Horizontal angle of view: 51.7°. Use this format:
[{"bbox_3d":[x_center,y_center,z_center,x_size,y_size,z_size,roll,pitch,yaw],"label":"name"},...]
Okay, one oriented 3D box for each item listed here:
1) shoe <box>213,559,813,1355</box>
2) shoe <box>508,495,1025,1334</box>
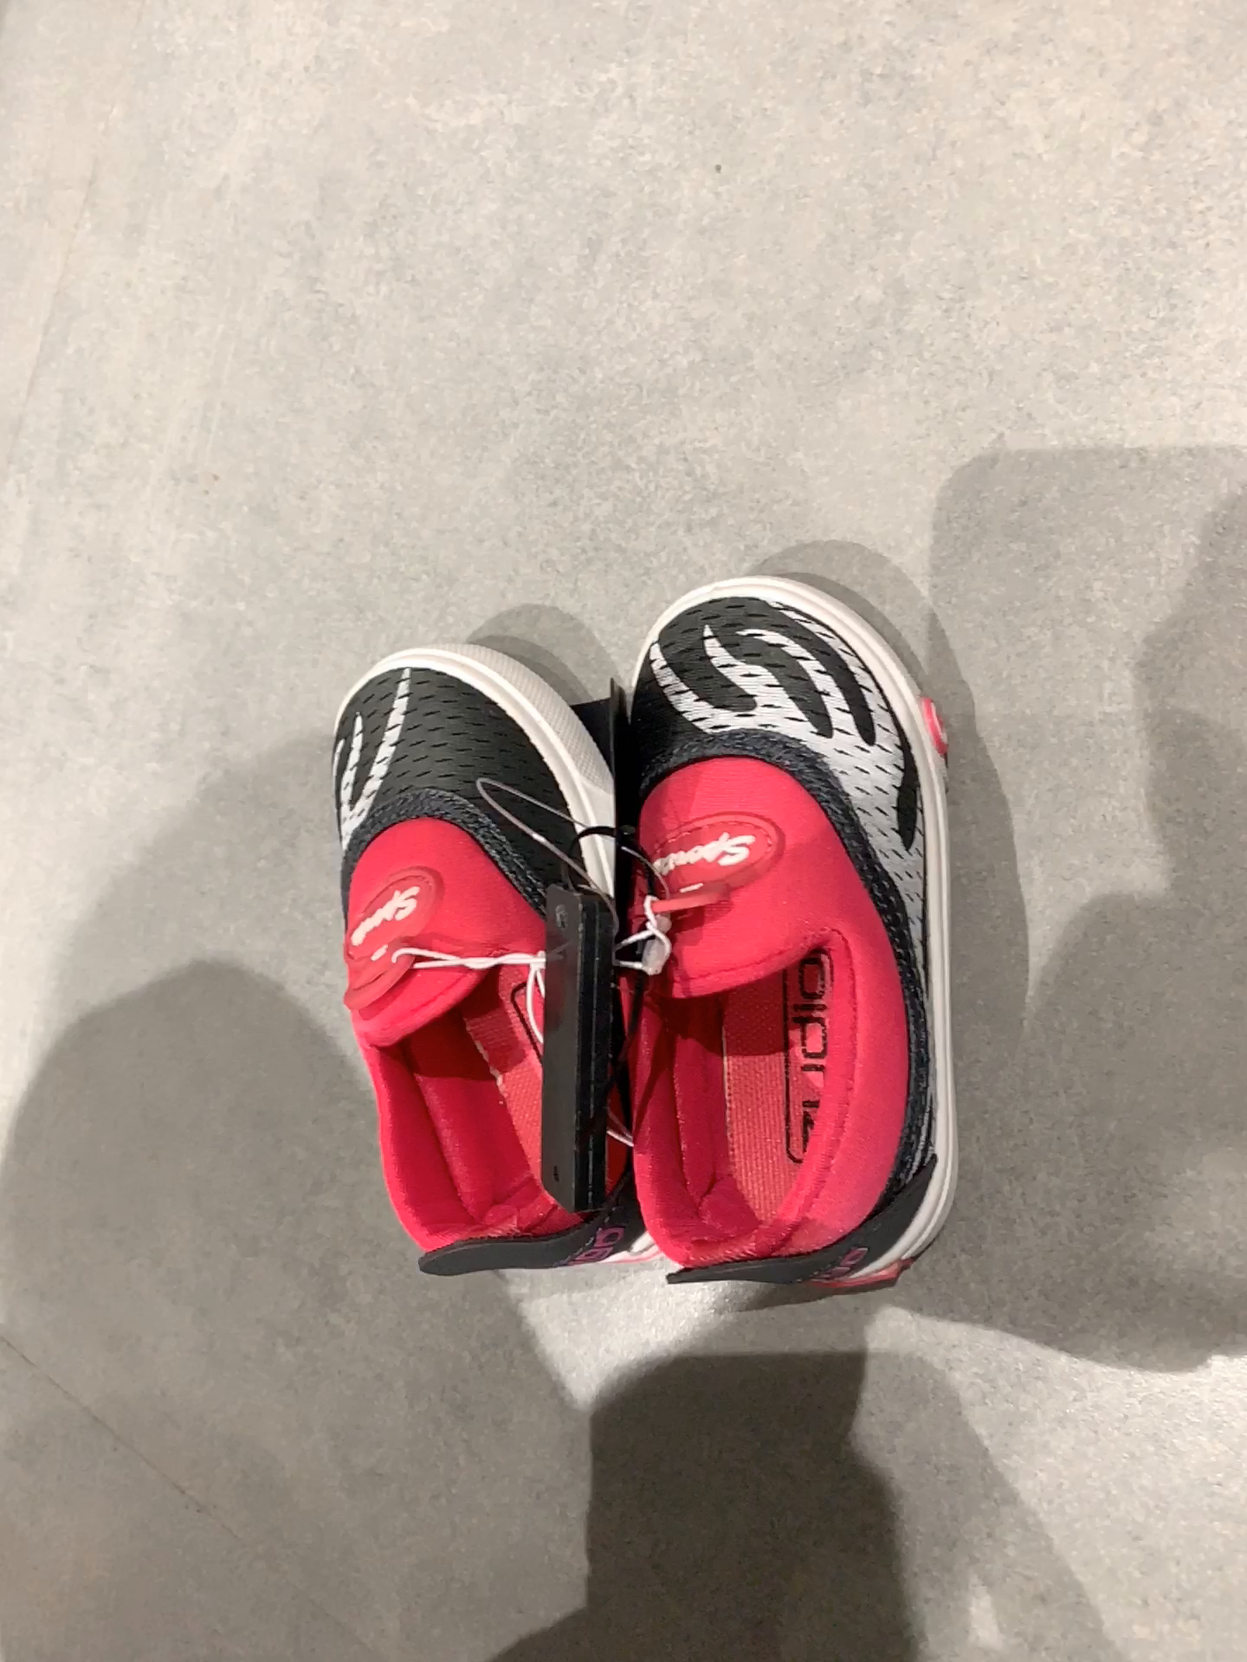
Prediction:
[{"bbox_3d":[-0.024,0.024,0.274,0.060,0.060,0.140,-28,76,23],"label":"shoe"},{"bbox_3d":[0.029,0.018,0.256,0.070,0.060,0.140,-9,84,26],"label":"shoe"}]
